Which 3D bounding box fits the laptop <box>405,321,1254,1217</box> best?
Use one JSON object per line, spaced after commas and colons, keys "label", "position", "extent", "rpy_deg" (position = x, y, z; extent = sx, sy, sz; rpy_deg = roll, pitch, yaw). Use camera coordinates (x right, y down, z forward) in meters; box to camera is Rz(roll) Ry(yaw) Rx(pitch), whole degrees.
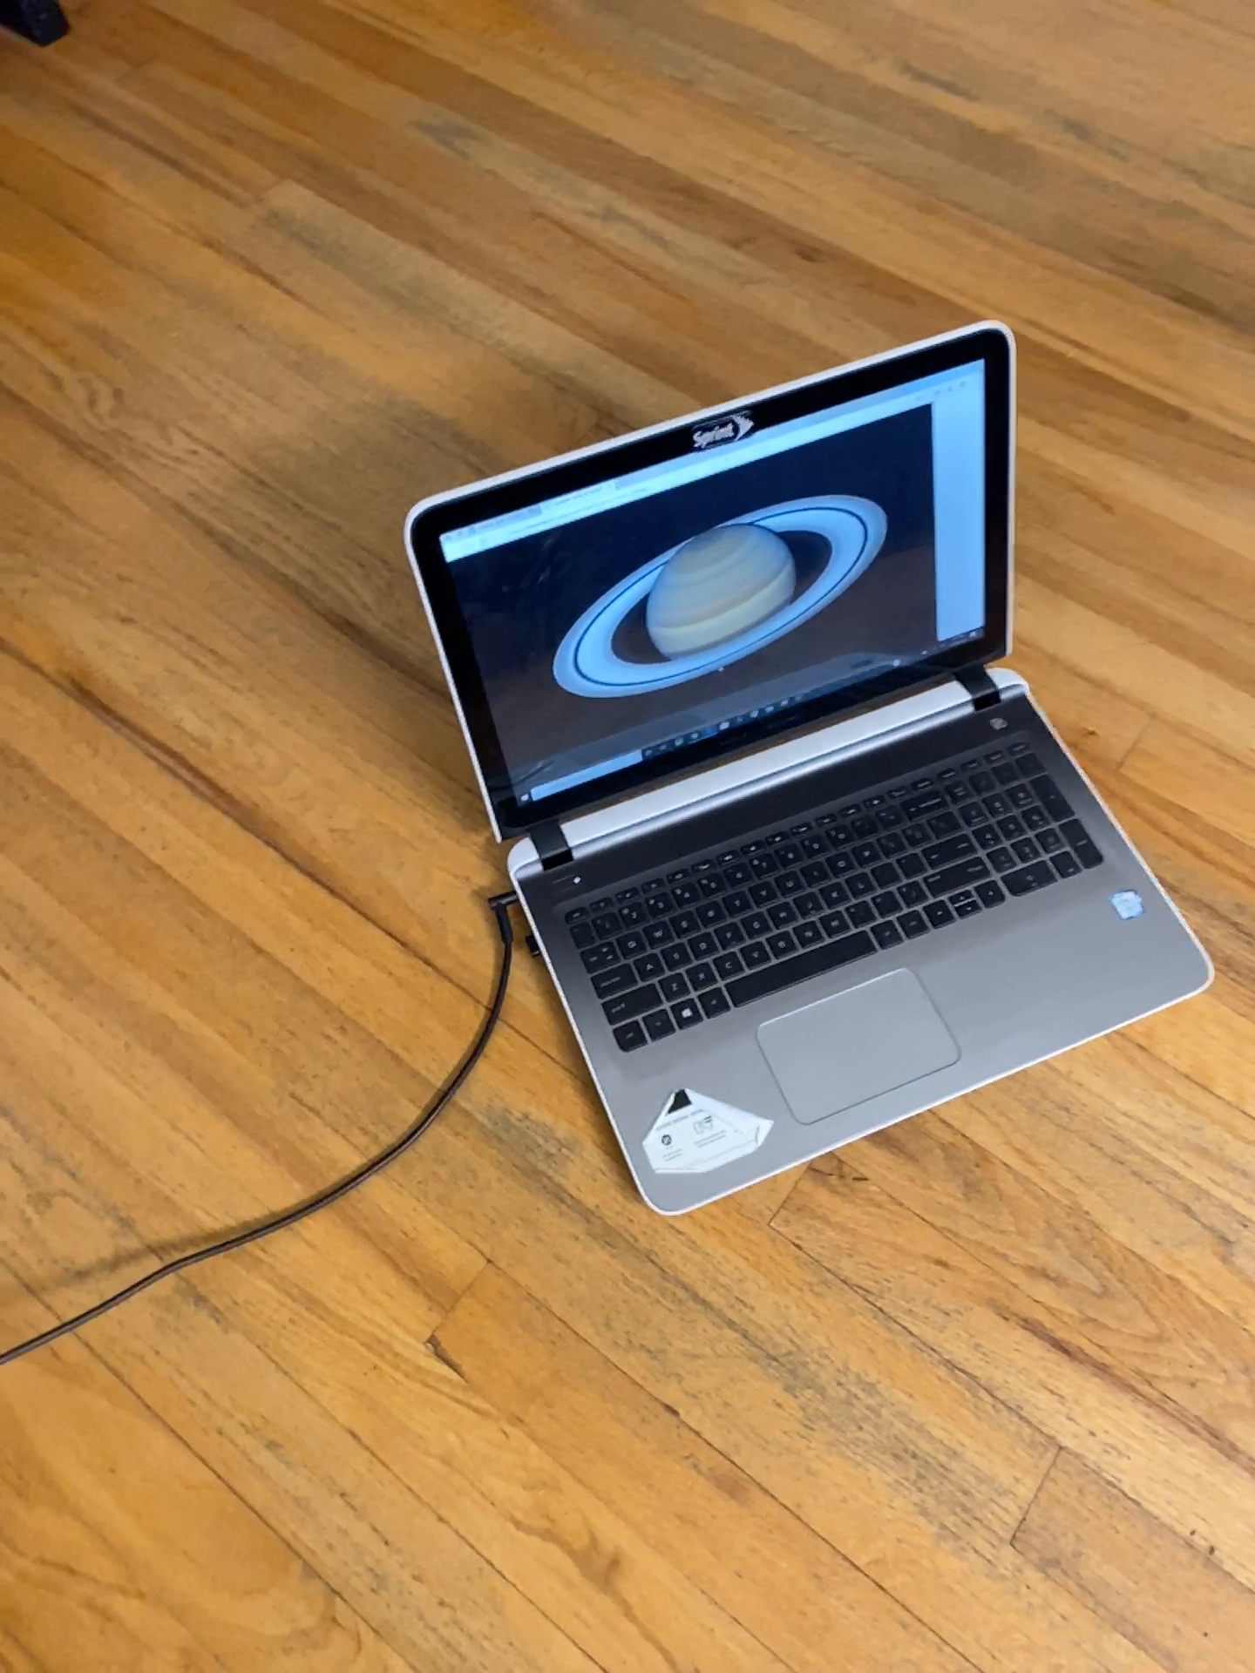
{"label": "laptop", "position": [0.120, -0.047, 0.742], "extent": [0.371, 0.202, 0.364], "rpy_deg": [-20, 64, -10]}
